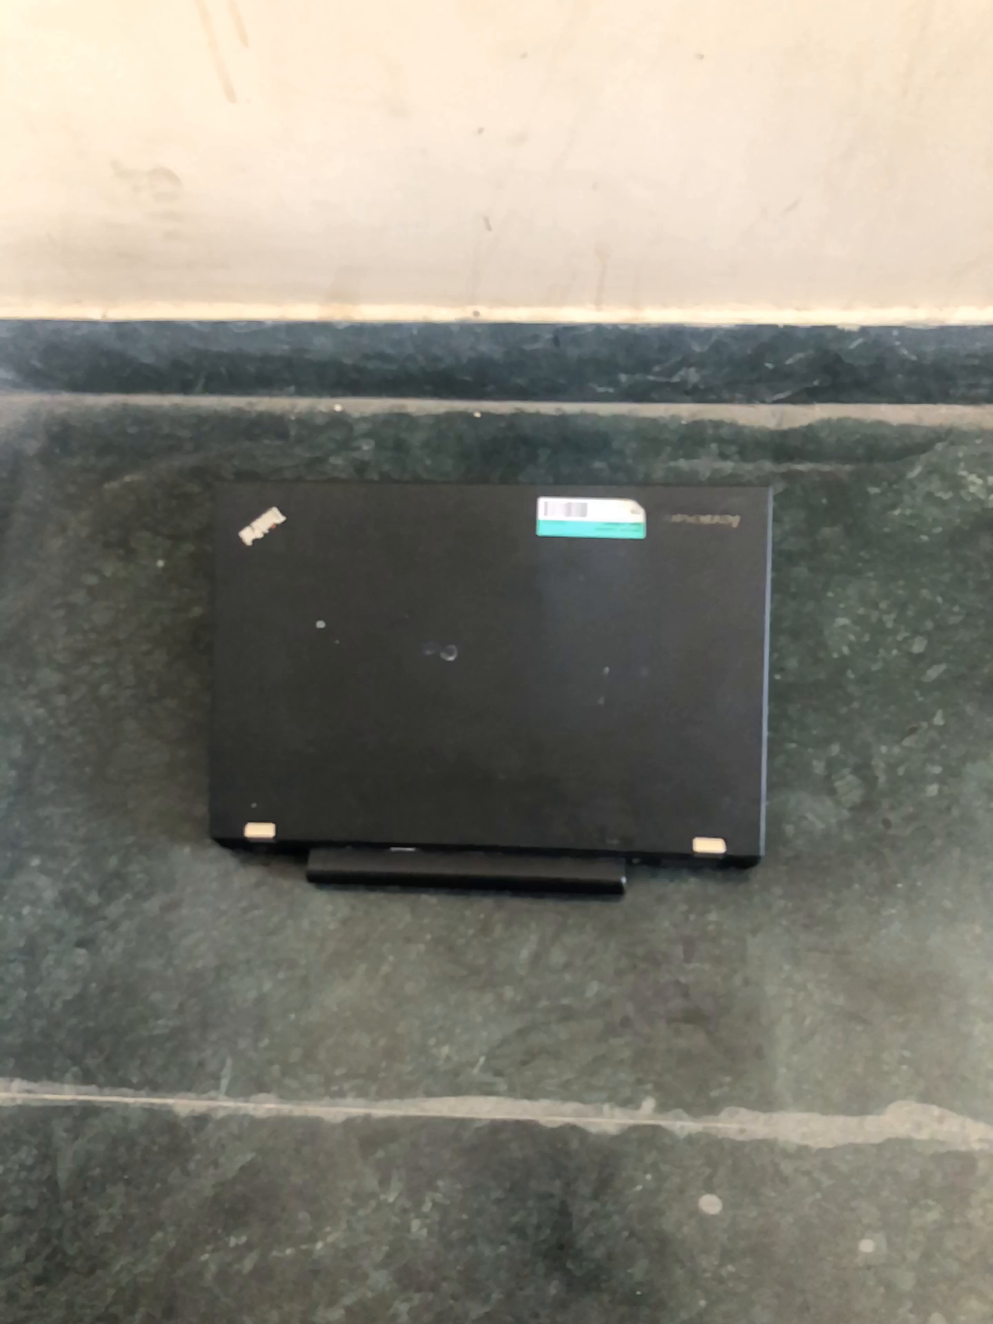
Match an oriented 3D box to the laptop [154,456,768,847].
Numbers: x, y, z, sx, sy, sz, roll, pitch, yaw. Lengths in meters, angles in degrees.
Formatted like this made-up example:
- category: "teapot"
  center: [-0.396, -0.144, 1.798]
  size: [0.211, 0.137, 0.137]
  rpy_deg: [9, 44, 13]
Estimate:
- category: "laptop"
  center: [-0.013, -0.009, 0.716]
  size: [0.349, 0.094, 0.228]
  rpy_deg: [2, 63, 2]
